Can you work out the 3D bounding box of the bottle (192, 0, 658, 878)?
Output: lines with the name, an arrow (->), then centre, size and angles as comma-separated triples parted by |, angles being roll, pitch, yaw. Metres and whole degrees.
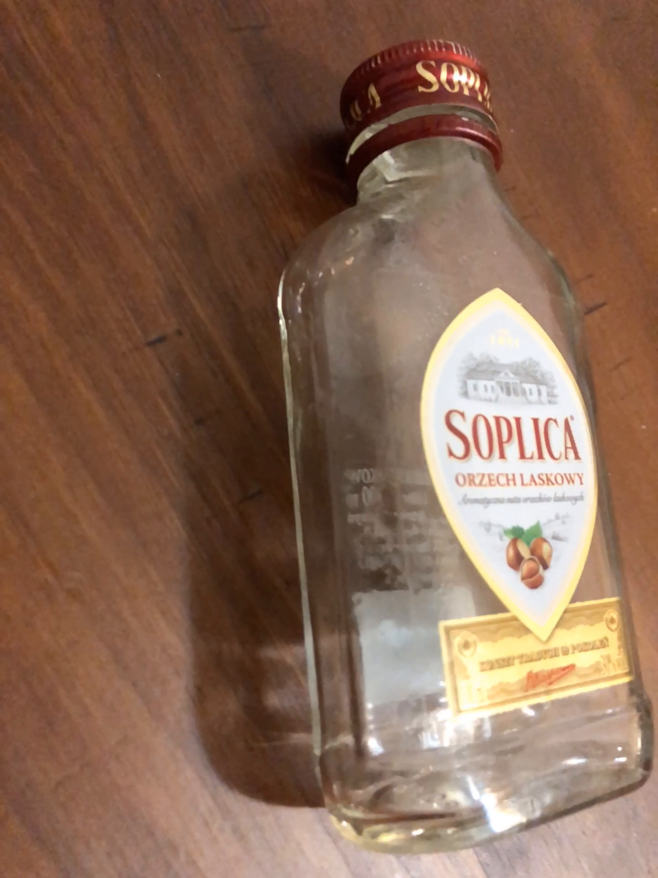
bottle -> 0.019, -0.014, 0.139 | 0.070, 0.030, 0.150 | 1, 75, -32
